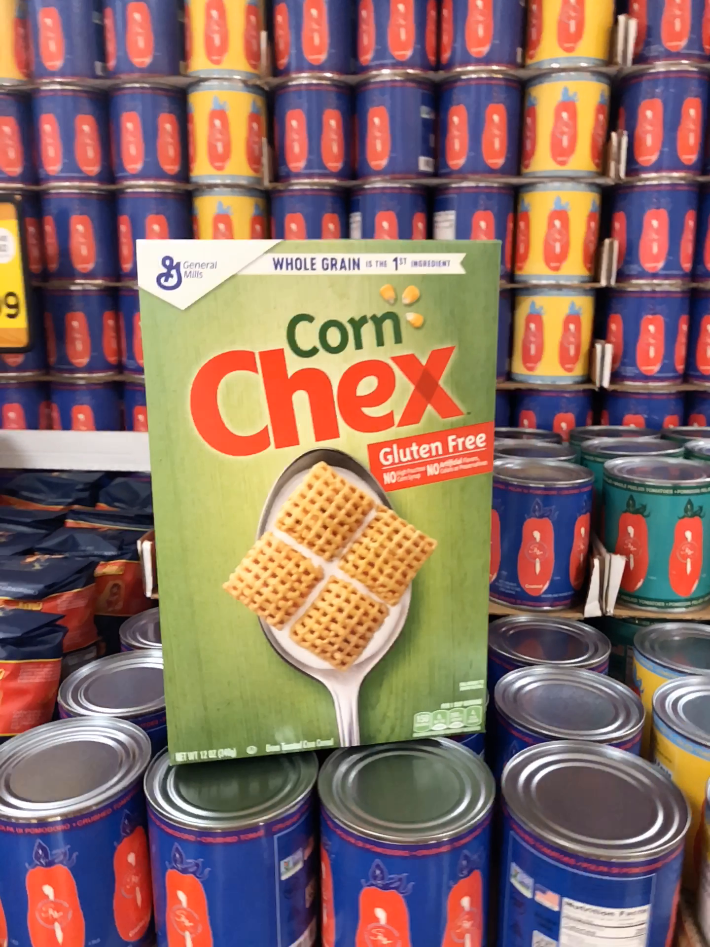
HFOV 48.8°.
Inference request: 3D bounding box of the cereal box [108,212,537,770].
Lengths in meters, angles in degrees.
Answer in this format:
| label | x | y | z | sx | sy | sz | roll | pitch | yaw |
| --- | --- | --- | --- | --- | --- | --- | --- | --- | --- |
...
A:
| label | x | y | z | sx | sy | sz | roll | pitch | yaw |
| --- | --- | --- | --- | --- | --- | --- | --- | --- | --- |
| cereal box | -0.016 | 0.009 | 0.457 | 0.220 | 0.299 | 0.060 | -2 | 12 | -10 |
